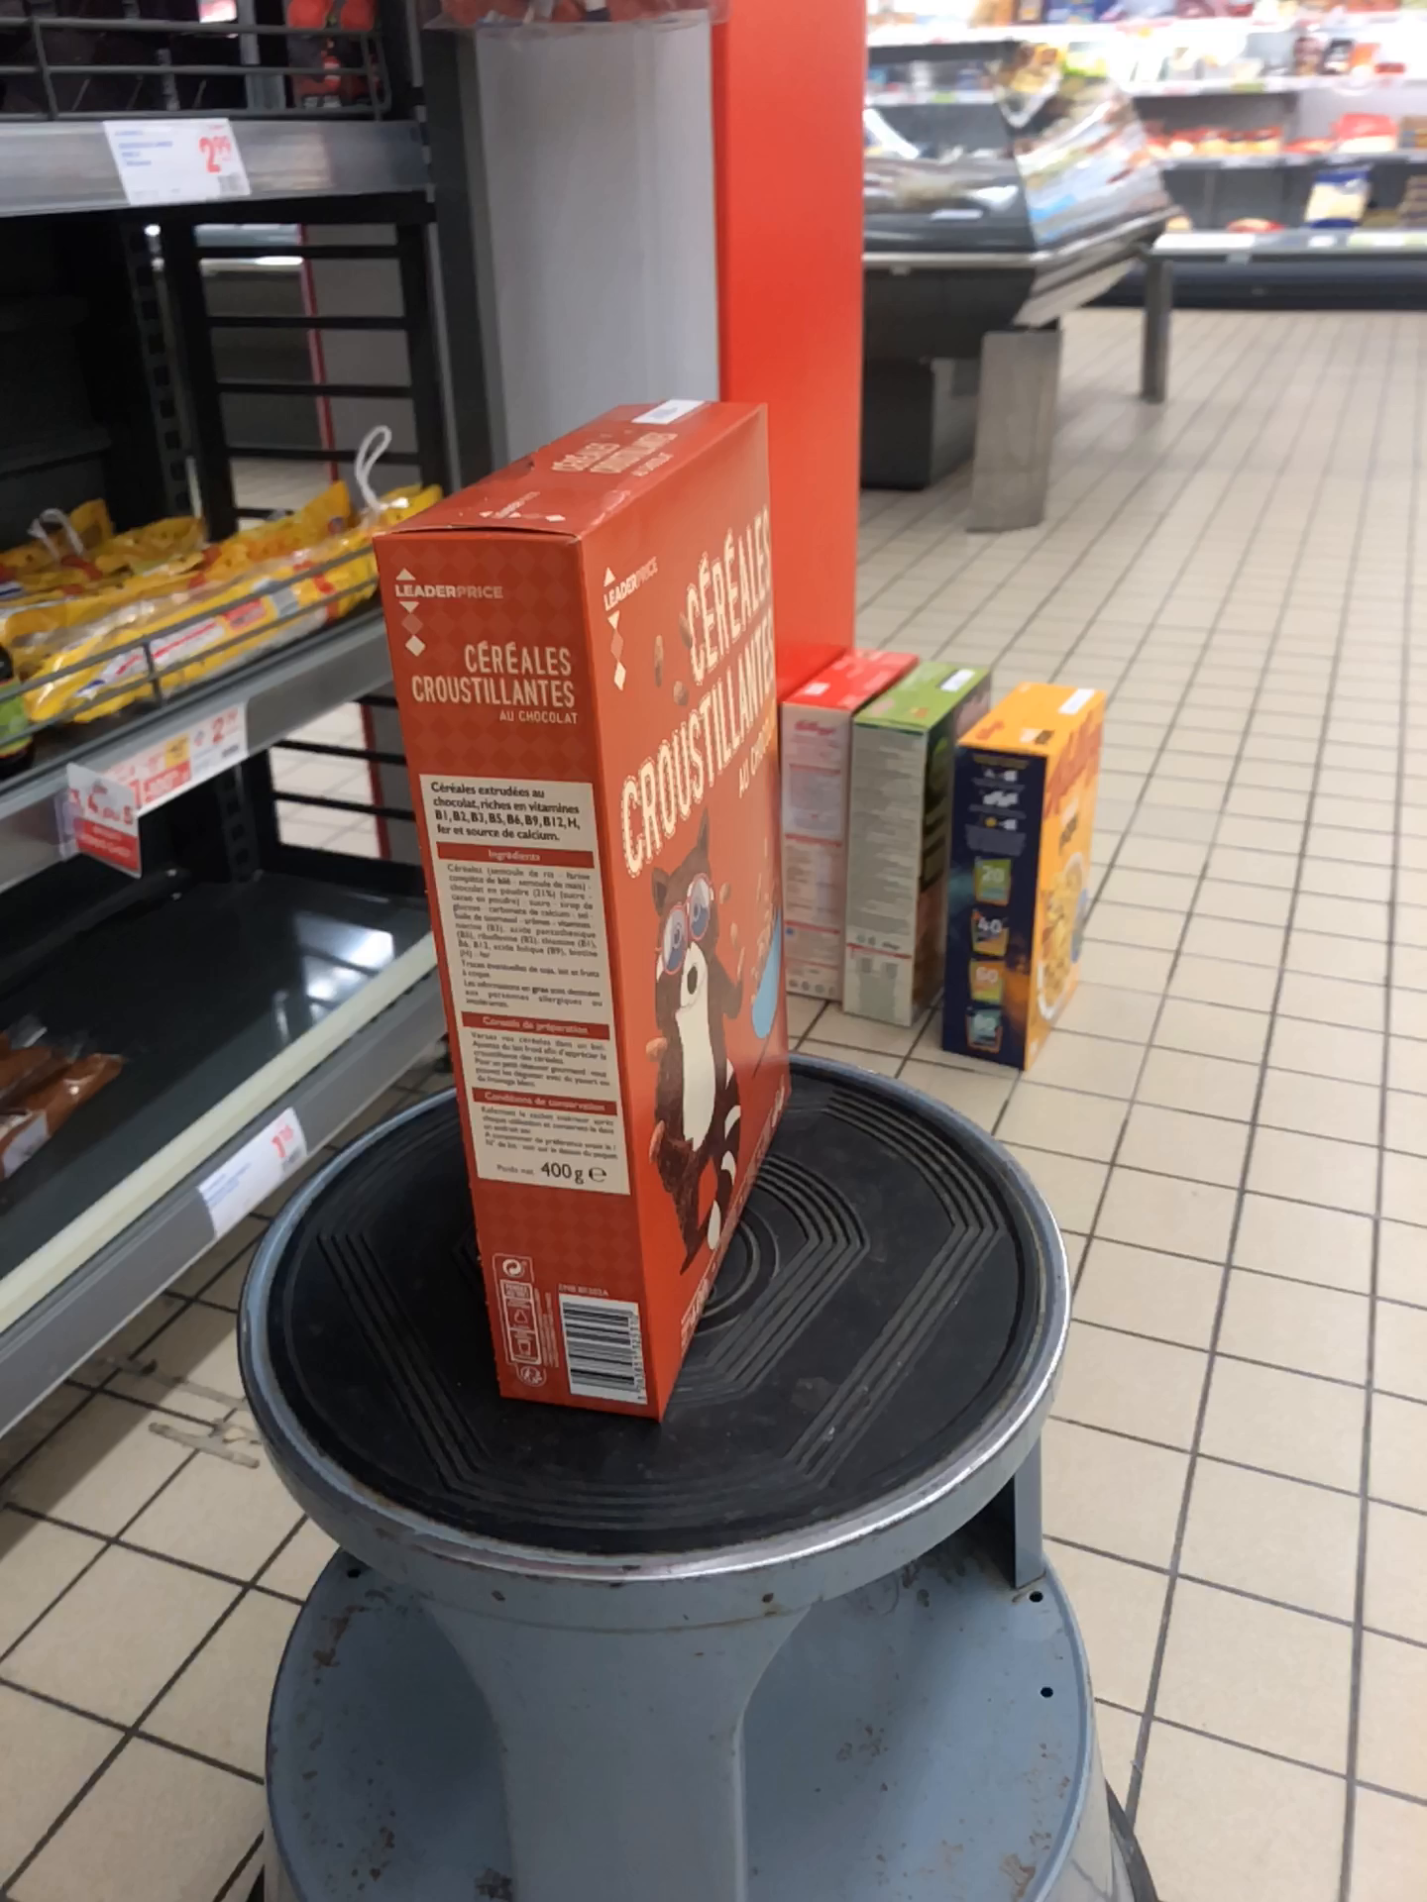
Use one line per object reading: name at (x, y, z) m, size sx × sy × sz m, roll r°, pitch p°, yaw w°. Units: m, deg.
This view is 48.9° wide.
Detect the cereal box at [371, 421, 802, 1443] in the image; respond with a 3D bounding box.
cereal box at (-0.022, -0.016, 0.492) m, size 0.060 × 0.259 × 0.191 m, roll 5°, pitch 27°, yaw 14°
